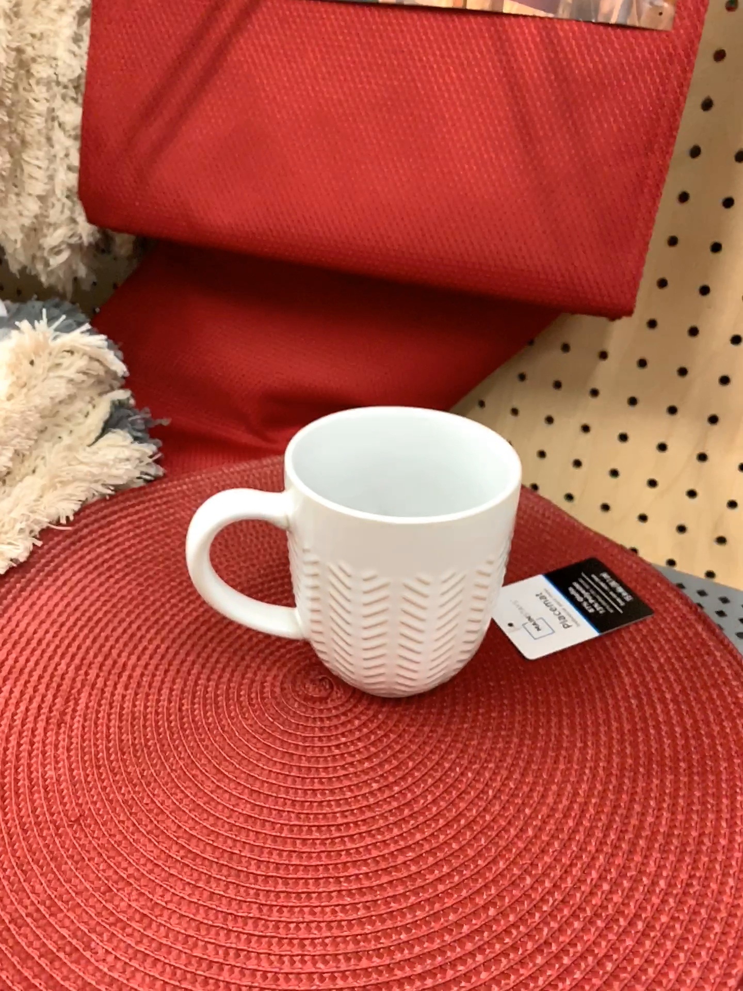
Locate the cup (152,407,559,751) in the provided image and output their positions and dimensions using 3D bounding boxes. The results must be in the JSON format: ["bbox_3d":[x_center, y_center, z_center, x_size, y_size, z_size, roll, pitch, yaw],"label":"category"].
[{"bbox_3d":[-0.013,0.024,0.320,0.140,0.090,0.100,-6,21,-15],"label":"cup"}]
